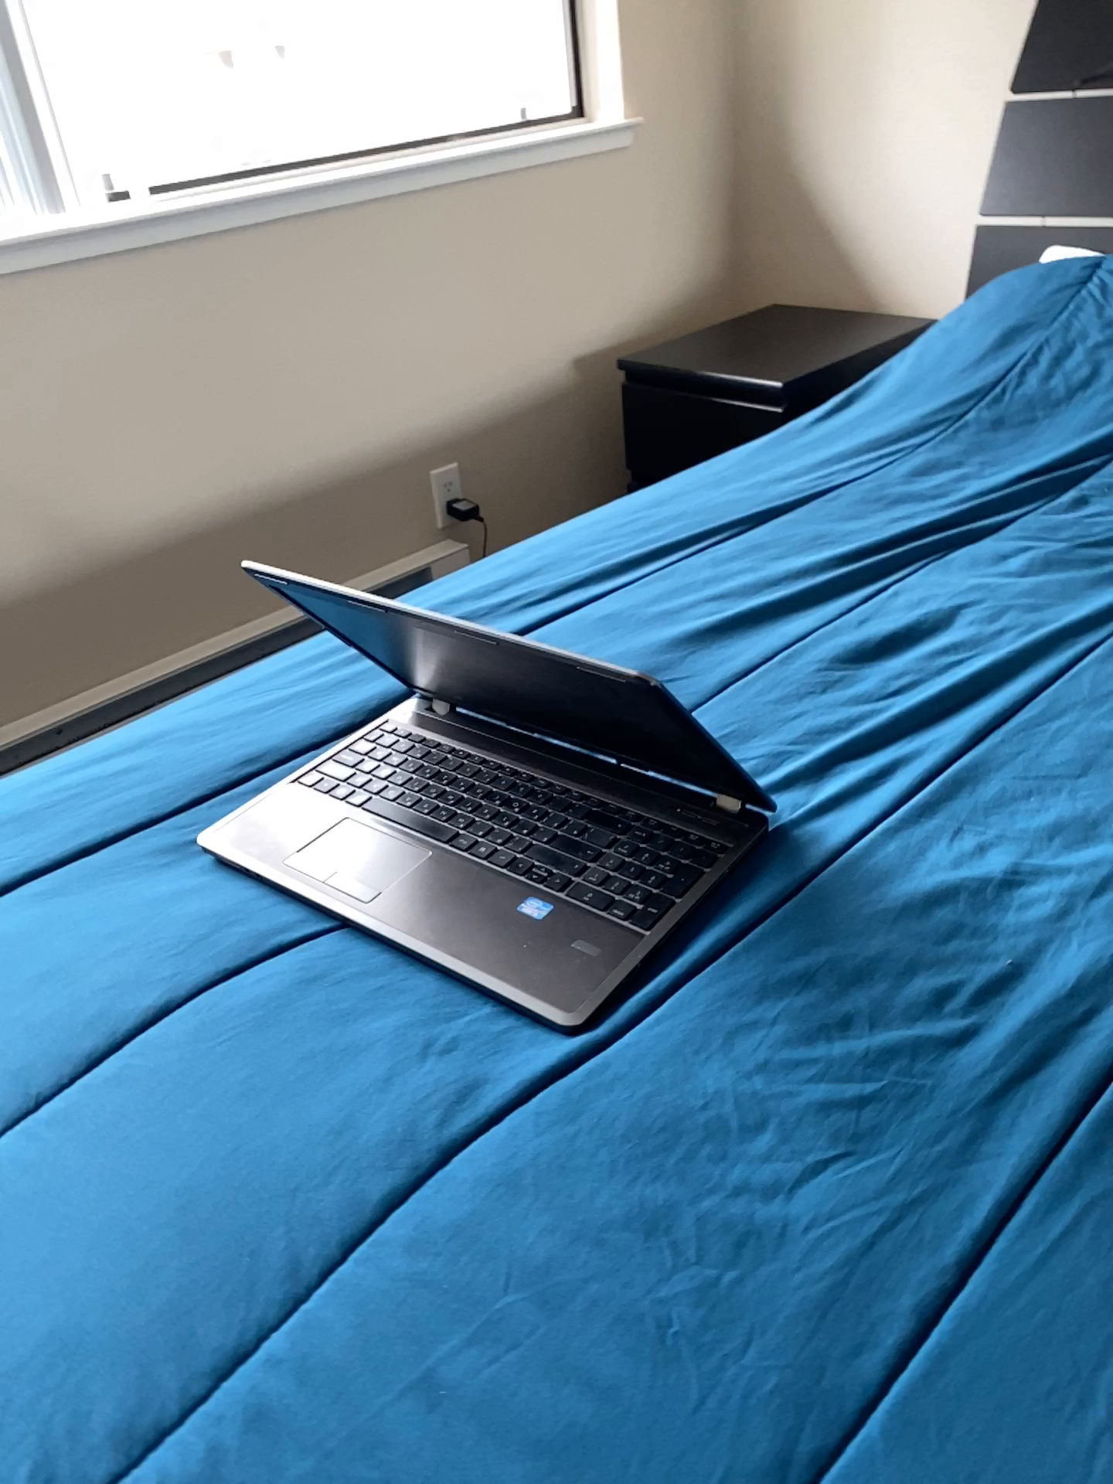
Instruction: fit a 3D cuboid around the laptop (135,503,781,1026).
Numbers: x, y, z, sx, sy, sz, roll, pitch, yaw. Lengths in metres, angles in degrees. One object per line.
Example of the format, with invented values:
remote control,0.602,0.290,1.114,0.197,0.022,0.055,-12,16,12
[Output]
laptop,-0.063,-0.016,0.820,0.370,0.192,0.256,18,38,34
